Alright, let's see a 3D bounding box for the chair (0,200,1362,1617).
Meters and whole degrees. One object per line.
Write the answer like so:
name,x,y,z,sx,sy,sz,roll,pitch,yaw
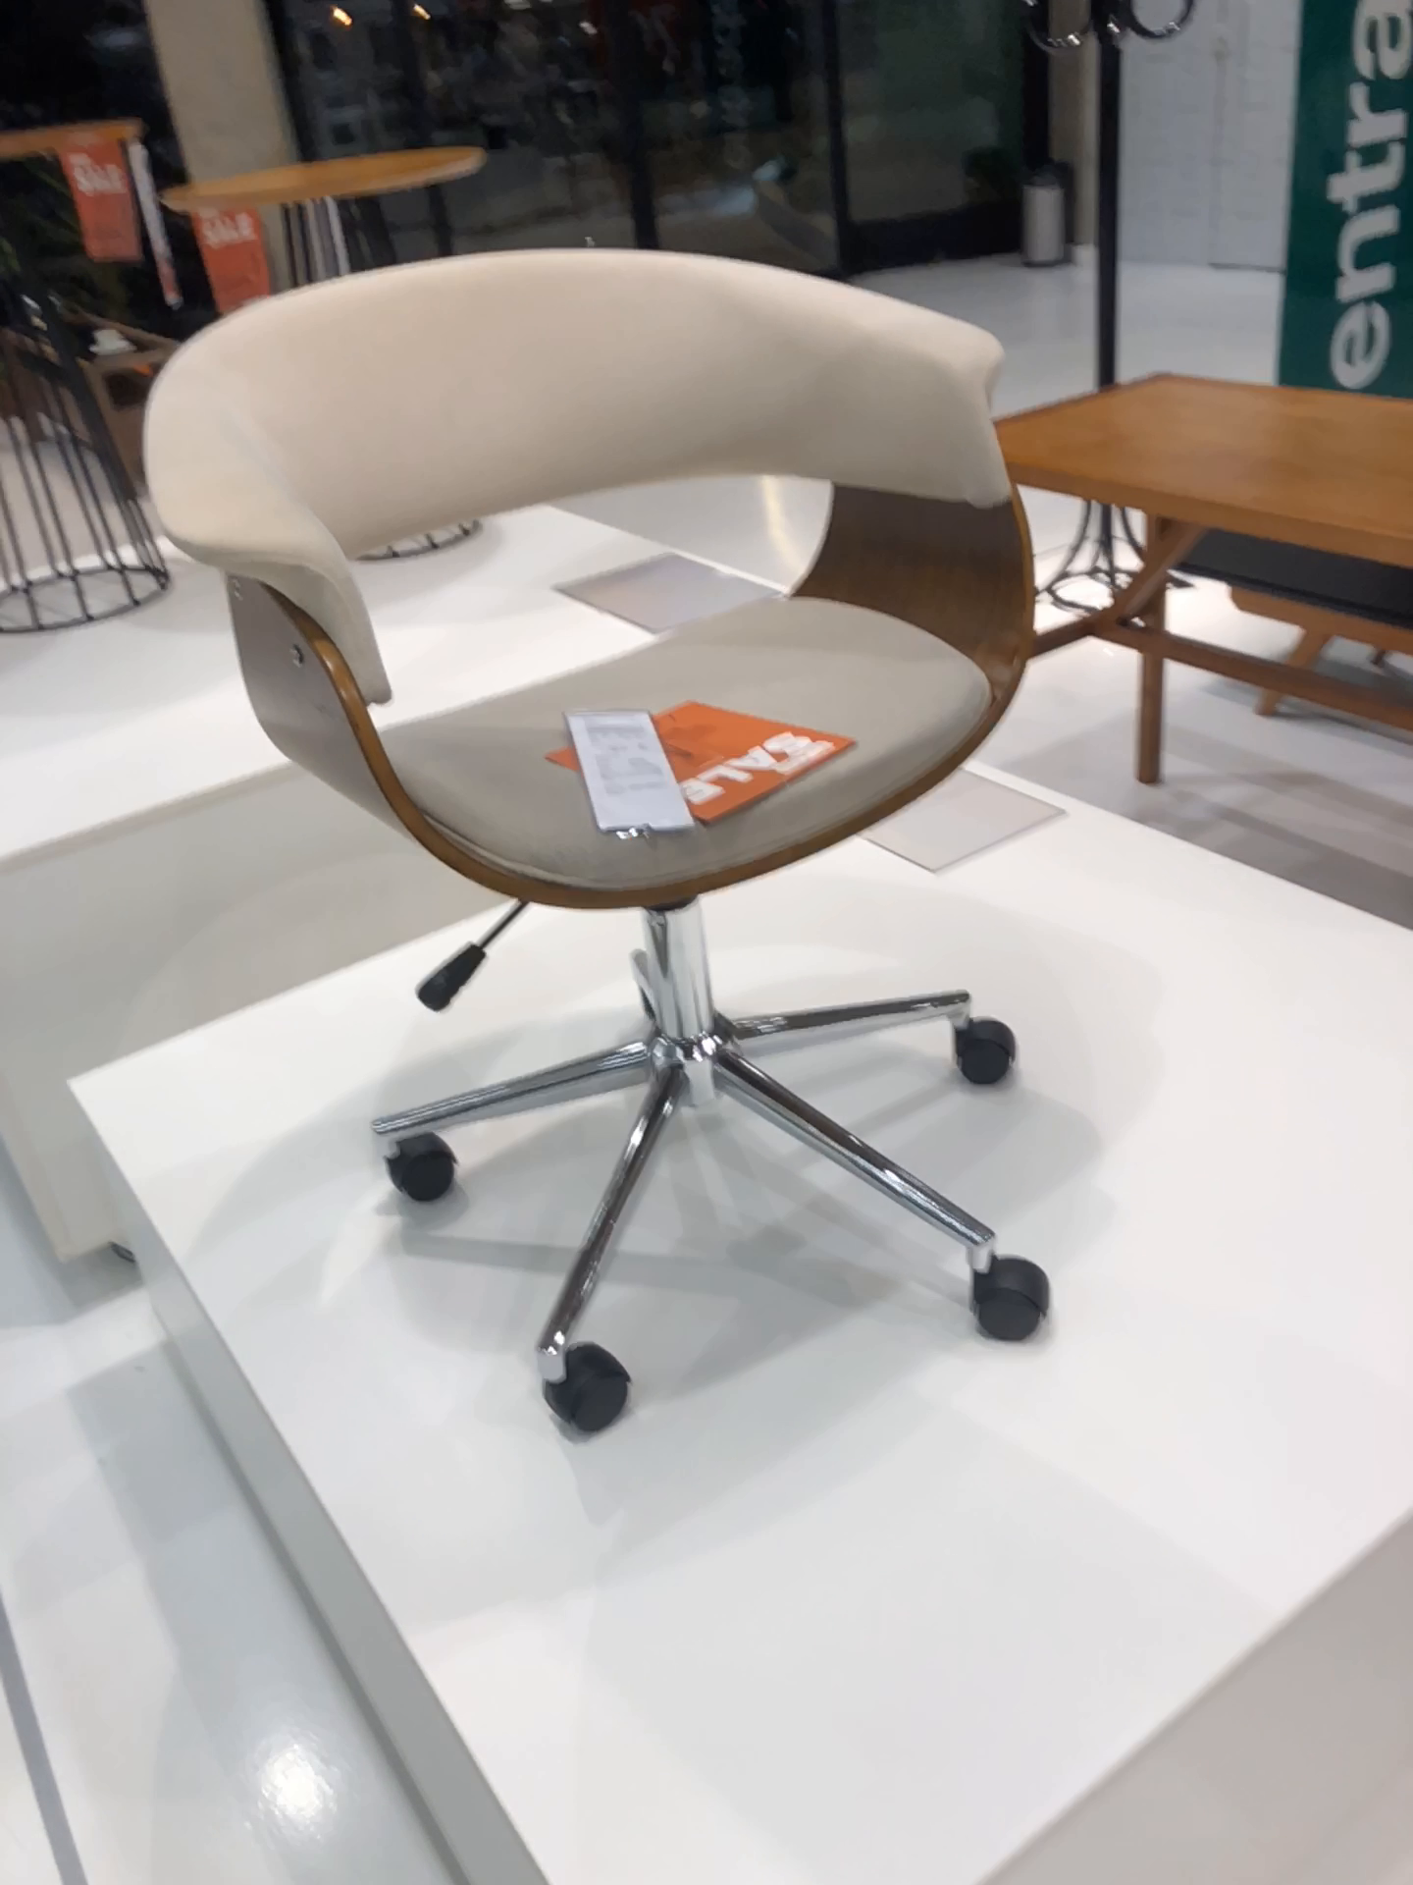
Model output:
chair,-0.021,-0.125,1.194,0.632,0.724,0.674,-25,34,-27
